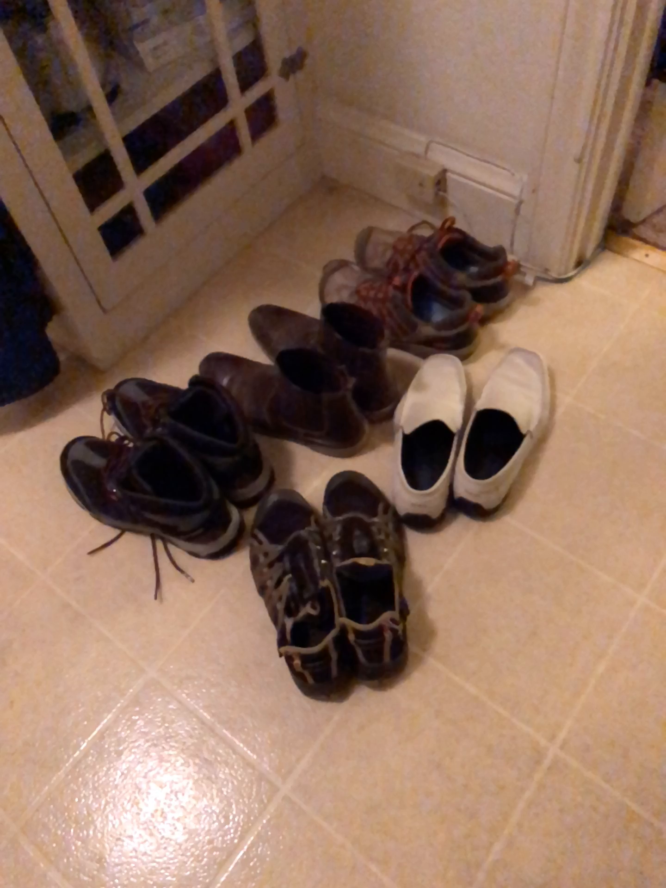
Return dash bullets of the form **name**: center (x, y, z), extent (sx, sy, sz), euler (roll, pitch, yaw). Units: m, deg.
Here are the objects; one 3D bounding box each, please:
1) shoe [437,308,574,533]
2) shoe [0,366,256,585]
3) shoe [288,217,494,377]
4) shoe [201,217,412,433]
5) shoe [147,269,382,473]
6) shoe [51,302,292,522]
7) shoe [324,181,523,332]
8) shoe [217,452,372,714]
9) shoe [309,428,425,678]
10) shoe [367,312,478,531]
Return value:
- **shoe**: center (0.254, -0.041, 1.076), extent (0.110, 0.113, 0.304), euler (16, 60, 17)
- **shoe**: center (-0.290, 0.045, 1.033), extent (0.323, 0.192, 0.110), euler (23, 63, 20)
- **shoe**: center (0.092, -0.245, 1.203), extent (0.314, 0.113, 0.110), euler (28, 64, 22)
- **shoe**: center (-0.038, -0.190, 1.166), extent (0.324, 0.192, 0.110), euler (35, 67, 26)
- **shoe**: center (-0.098, -0.112, 1.124), extent (0.324, 0.192, 0.110), euler (24, 63, 21)
- **shoe**: center (-0.234, -0.048, 1.095), extent (0.324, 0.192, 0.110), euler (29, 65, 23)
- **shoe**: center (0.150, -0.323, 1.253), extent (0.314, 0.113, 0.110), euler (28, 64, 22)
- **shoe**: center (-0.053, 0.177, 0.963), extent (0.110, 0.123, 0.294), euler (-18, 57, -5)
- **shoe**: center (0.042, 0.141, 0.979), extent (0.110, 0.123, 0.294), euler (-8, 56, 2)
- **shoe**: center (0.138, -0.040, 1.087), extent (0.110, 0.113, 0.304), euler (8, 58, 12)
